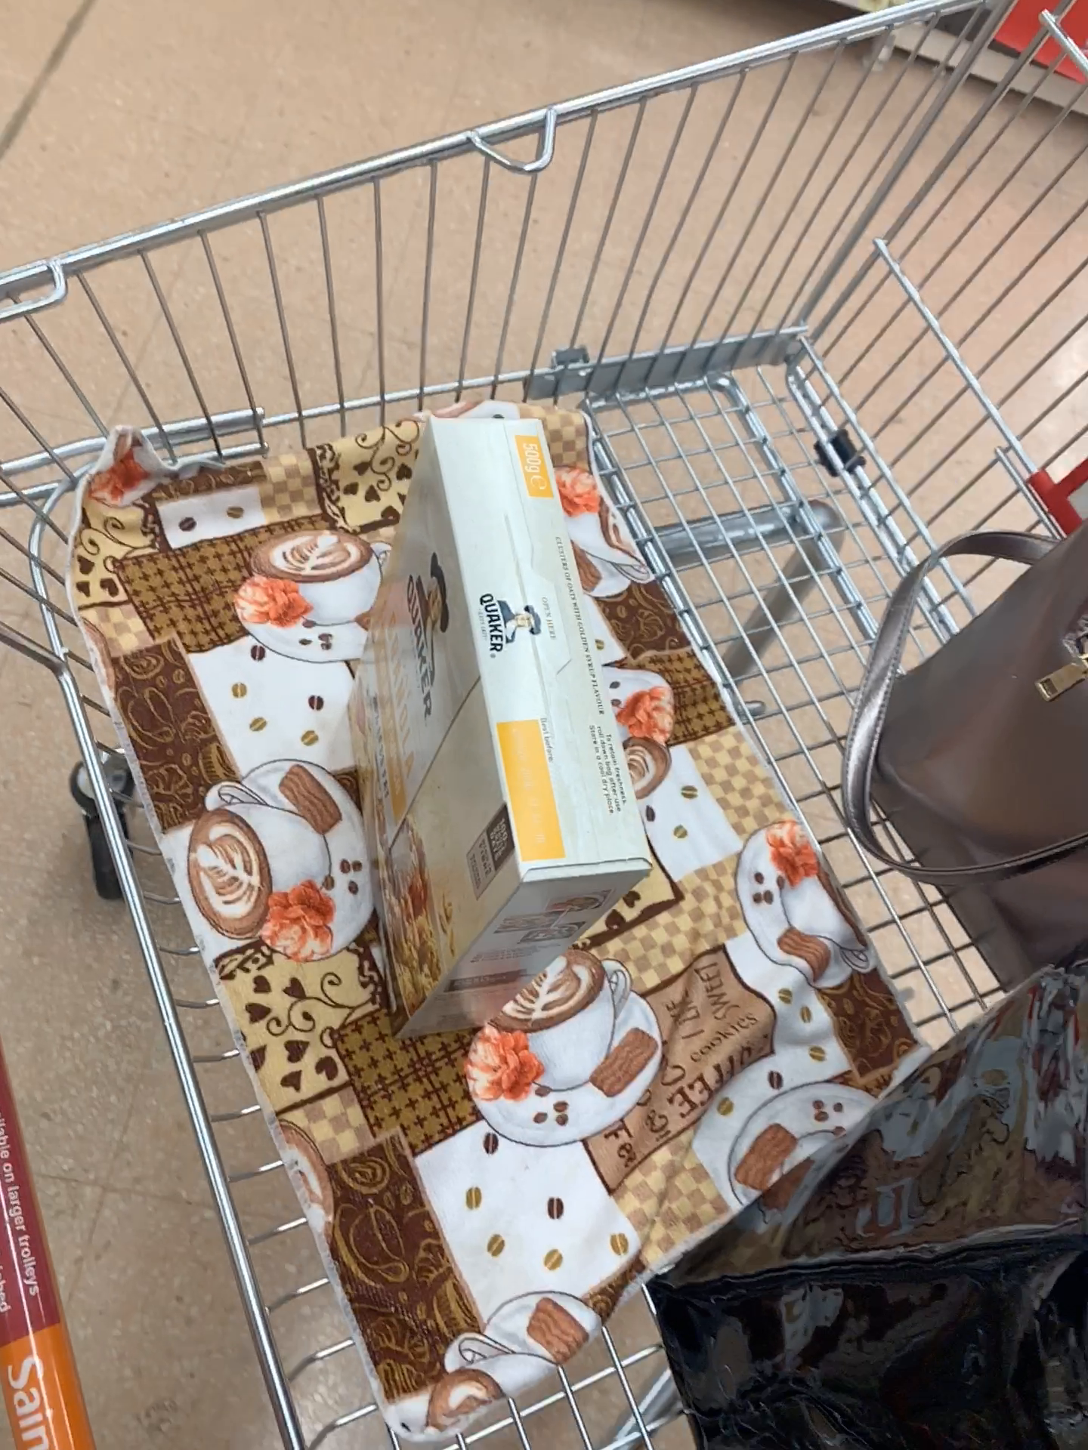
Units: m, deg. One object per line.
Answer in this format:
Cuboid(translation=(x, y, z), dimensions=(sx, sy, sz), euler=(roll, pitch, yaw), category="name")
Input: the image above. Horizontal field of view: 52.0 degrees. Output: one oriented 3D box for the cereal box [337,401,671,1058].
Cuboid(translation=(-0.039, 0.021, 0.505), dimensions=(0.050, 0.258, 0.201), euler=(-4, 65, -20), category="cereal box")
